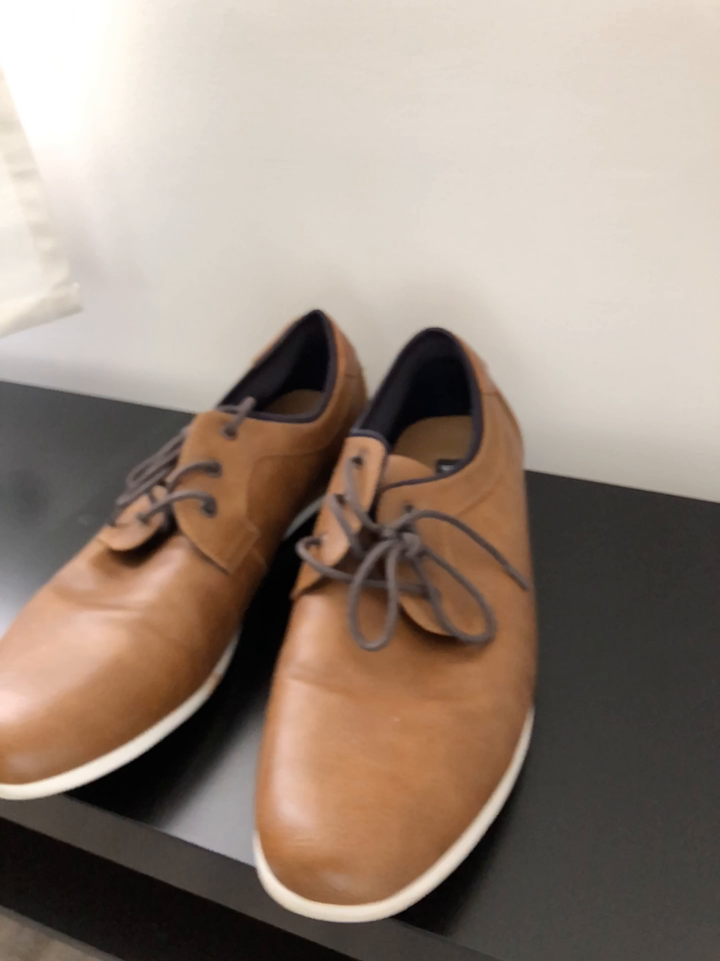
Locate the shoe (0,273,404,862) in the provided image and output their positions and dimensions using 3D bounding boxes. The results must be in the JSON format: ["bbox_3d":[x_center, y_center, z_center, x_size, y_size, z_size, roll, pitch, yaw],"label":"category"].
[{"bbox_3d":[-0.085,0.012,0.382,0.104,0.100,0.270,14,43,23],"label":"shoe"}]

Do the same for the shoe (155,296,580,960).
[{"bbox_3d":[0.031,0.031,0.355,0.104,0.100,0.281,6,40,14],"label":"shoe"}]
